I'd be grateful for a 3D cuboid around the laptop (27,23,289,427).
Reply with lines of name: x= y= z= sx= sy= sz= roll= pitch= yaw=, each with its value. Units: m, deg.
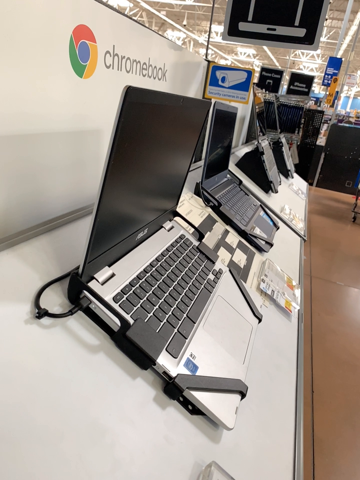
laptop: x=0.005 y=-0.041 z=0.502 sx=0.292 sy=0.197 sz=0.309 roll=33 pitch=24 yaw=6
